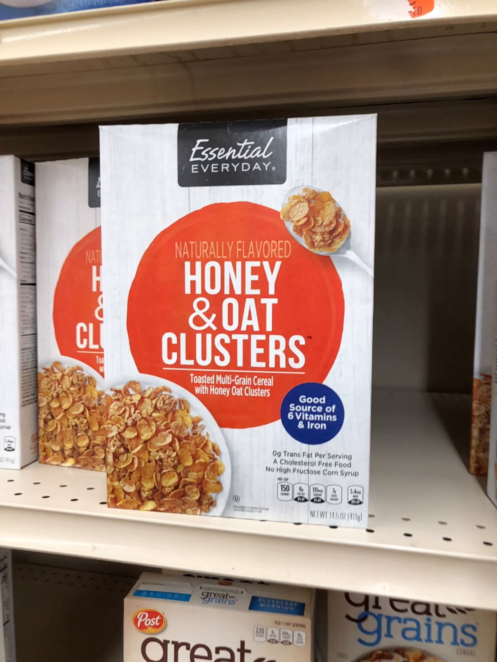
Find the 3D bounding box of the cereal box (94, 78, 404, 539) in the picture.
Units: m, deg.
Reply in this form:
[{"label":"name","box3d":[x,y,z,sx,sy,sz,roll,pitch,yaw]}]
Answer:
[{"label":"cereal box","box3d":[0.001,-0.014,0.413,0.210,0.300,0.070,1,5,11]}]
